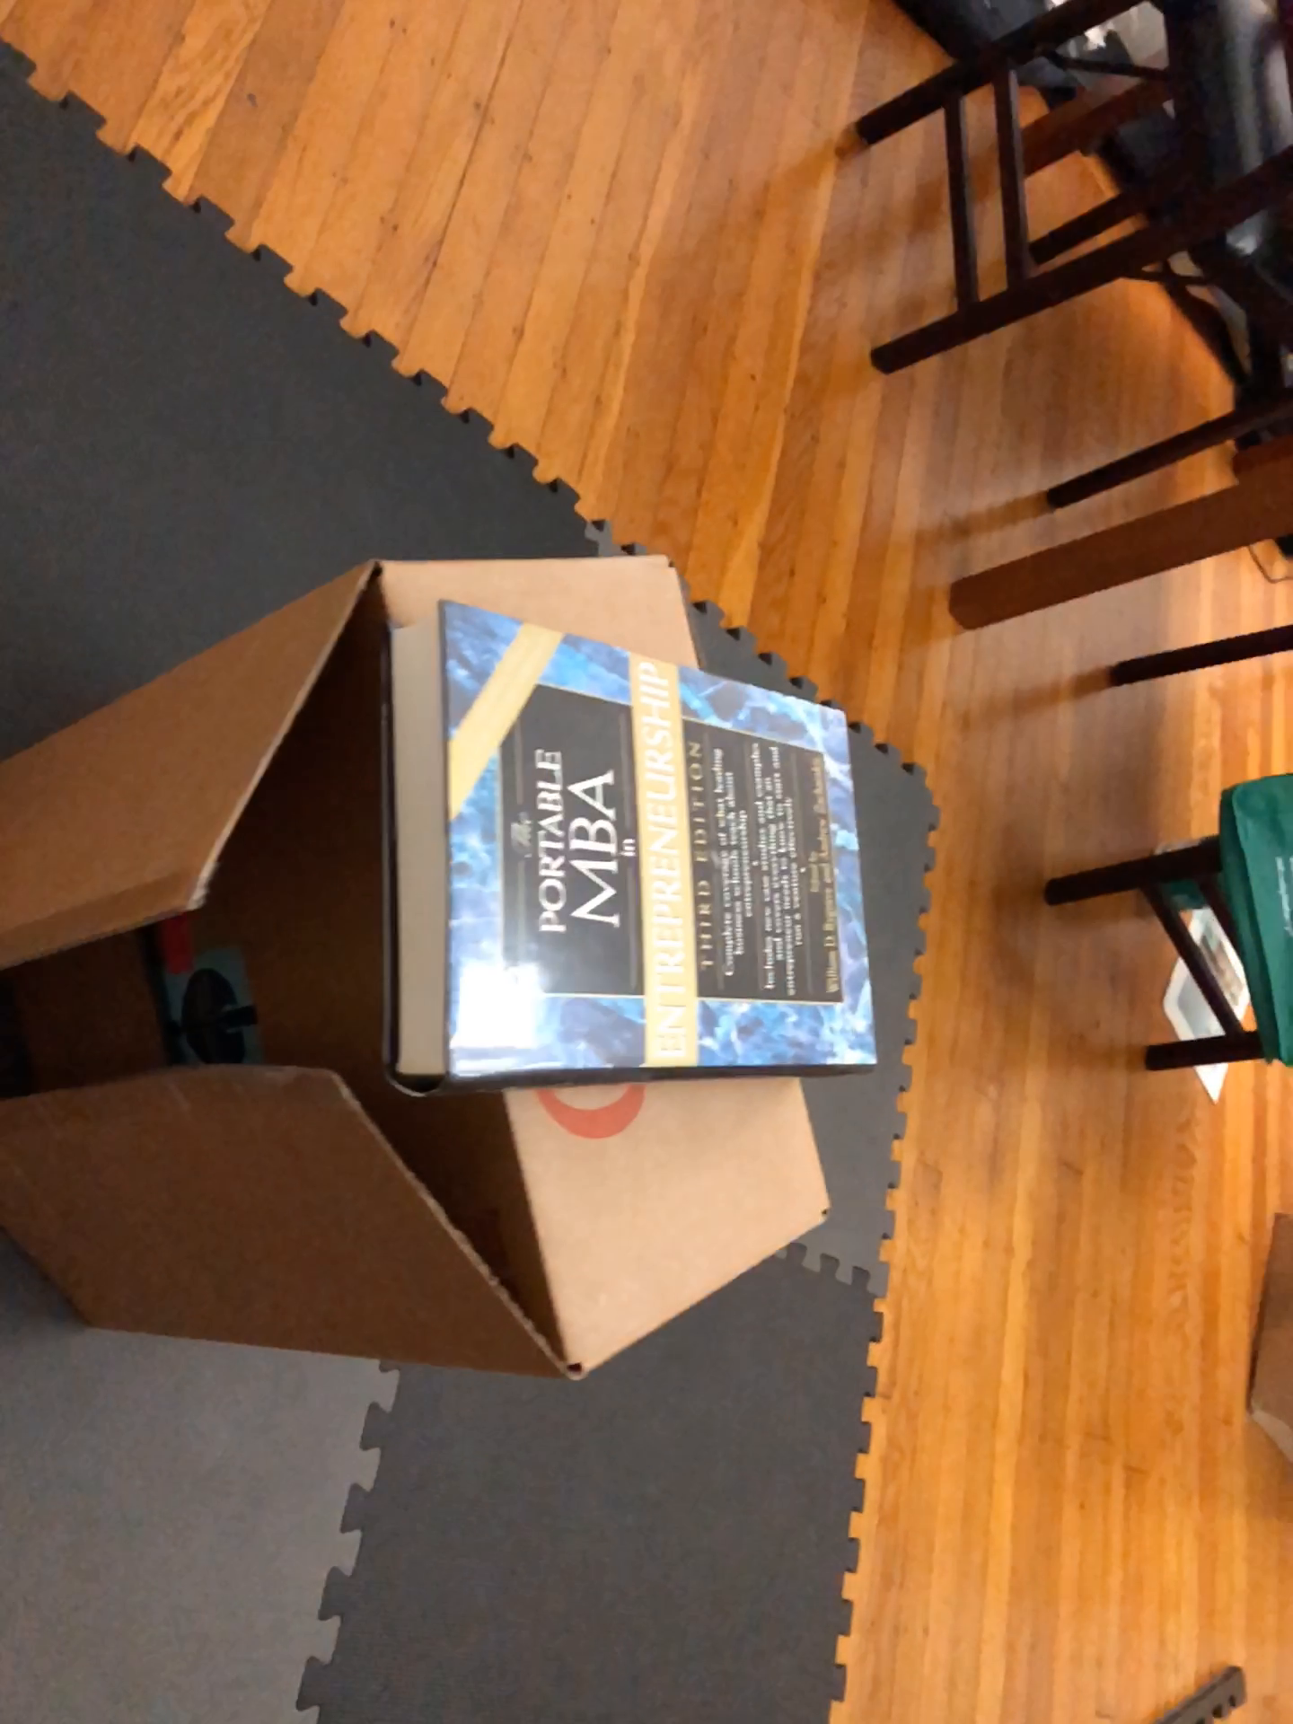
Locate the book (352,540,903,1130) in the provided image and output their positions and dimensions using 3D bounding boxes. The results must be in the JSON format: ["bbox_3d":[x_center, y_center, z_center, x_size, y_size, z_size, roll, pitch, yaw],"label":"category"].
[{"bbox_3d":[0.004,0.002,0.619,0.271,0.060,0.210,7,76,-47],"label":"book"}]
